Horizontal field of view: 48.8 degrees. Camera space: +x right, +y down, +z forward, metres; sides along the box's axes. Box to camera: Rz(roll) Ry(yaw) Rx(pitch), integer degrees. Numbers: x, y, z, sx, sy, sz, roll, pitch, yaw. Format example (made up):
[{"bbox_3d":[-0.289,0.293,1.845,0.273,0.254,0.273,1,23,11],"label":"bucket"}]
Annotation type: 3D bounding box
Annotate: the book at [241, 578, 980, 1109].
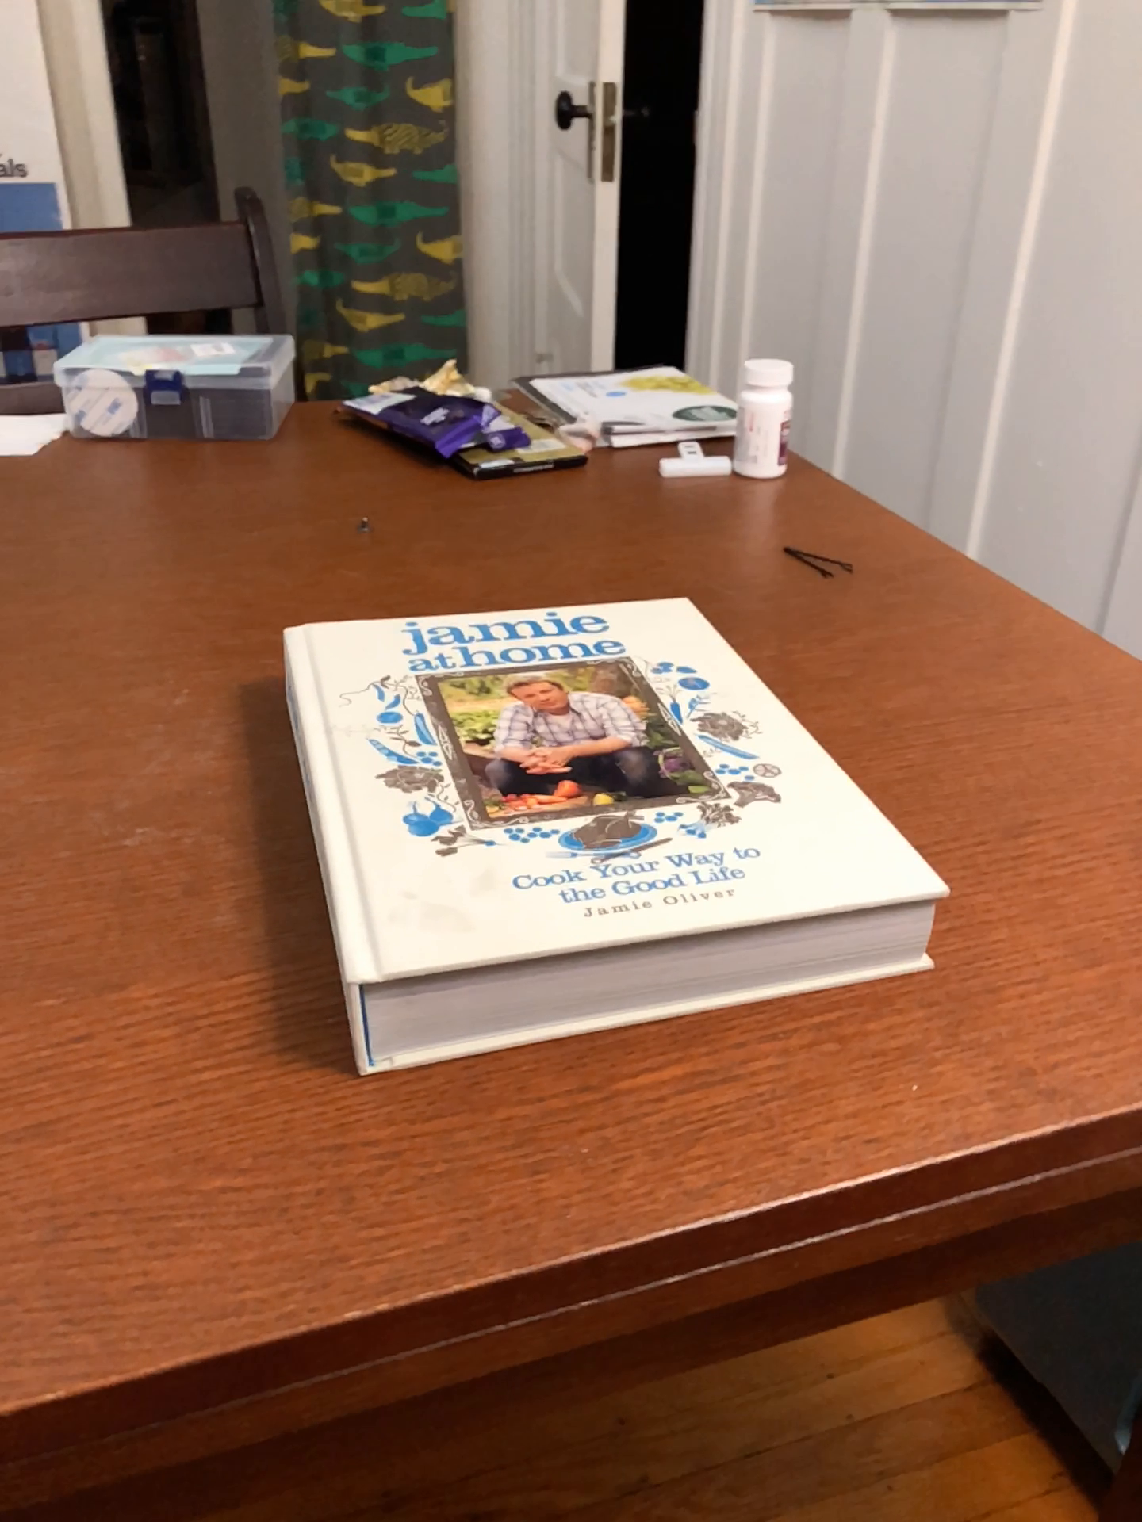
[{"bbox_3d":[-0.010,0.005,0.481,0.210,0.040,0.261,-7,31,-13],"label":"book"}]
